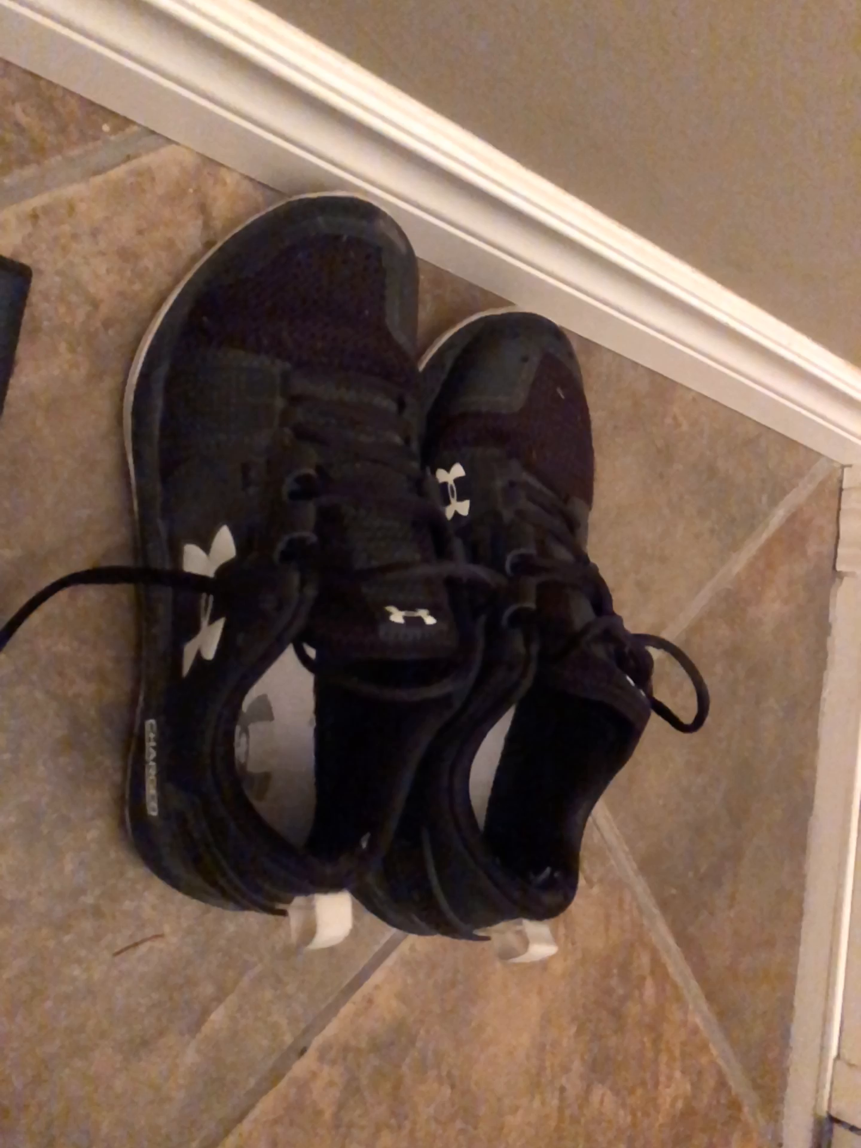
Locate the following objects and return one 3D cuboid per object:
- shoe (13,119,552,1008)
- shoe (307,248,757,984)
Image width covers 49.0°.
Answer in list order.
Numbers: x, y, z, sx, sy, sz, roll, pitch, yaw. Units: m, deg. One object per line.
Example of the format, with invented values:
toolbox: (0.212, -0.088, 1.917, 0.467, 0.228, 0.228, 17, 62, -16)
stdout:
shoe: (-0.050, 0.001, 0.332, 0.110, 0.100, 0.250, 15, 81, -36)
shoe: (0.044, 0.019, 0.388, 0.110, 0.100, 0.250, 15, 81, -36)
